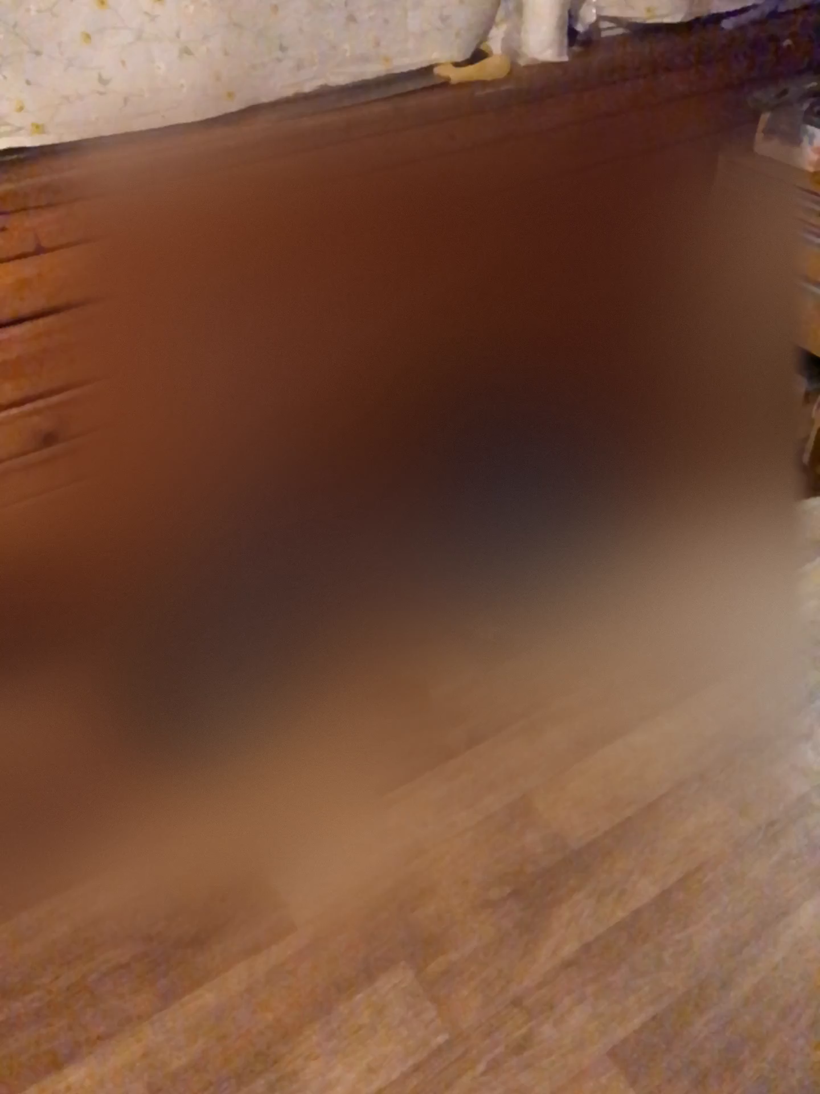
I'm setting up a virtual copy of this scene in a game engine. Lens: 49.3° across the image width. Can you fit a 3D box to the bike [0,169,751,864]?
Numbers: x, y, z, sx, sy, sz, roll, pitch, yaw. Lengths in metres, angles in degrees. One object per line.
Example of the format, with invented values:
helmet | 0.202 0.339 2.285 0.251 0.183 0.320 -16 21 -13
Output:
bike | -0.051 -0.116 1.491 0.958 0.698 0.596 -21 45 -23
